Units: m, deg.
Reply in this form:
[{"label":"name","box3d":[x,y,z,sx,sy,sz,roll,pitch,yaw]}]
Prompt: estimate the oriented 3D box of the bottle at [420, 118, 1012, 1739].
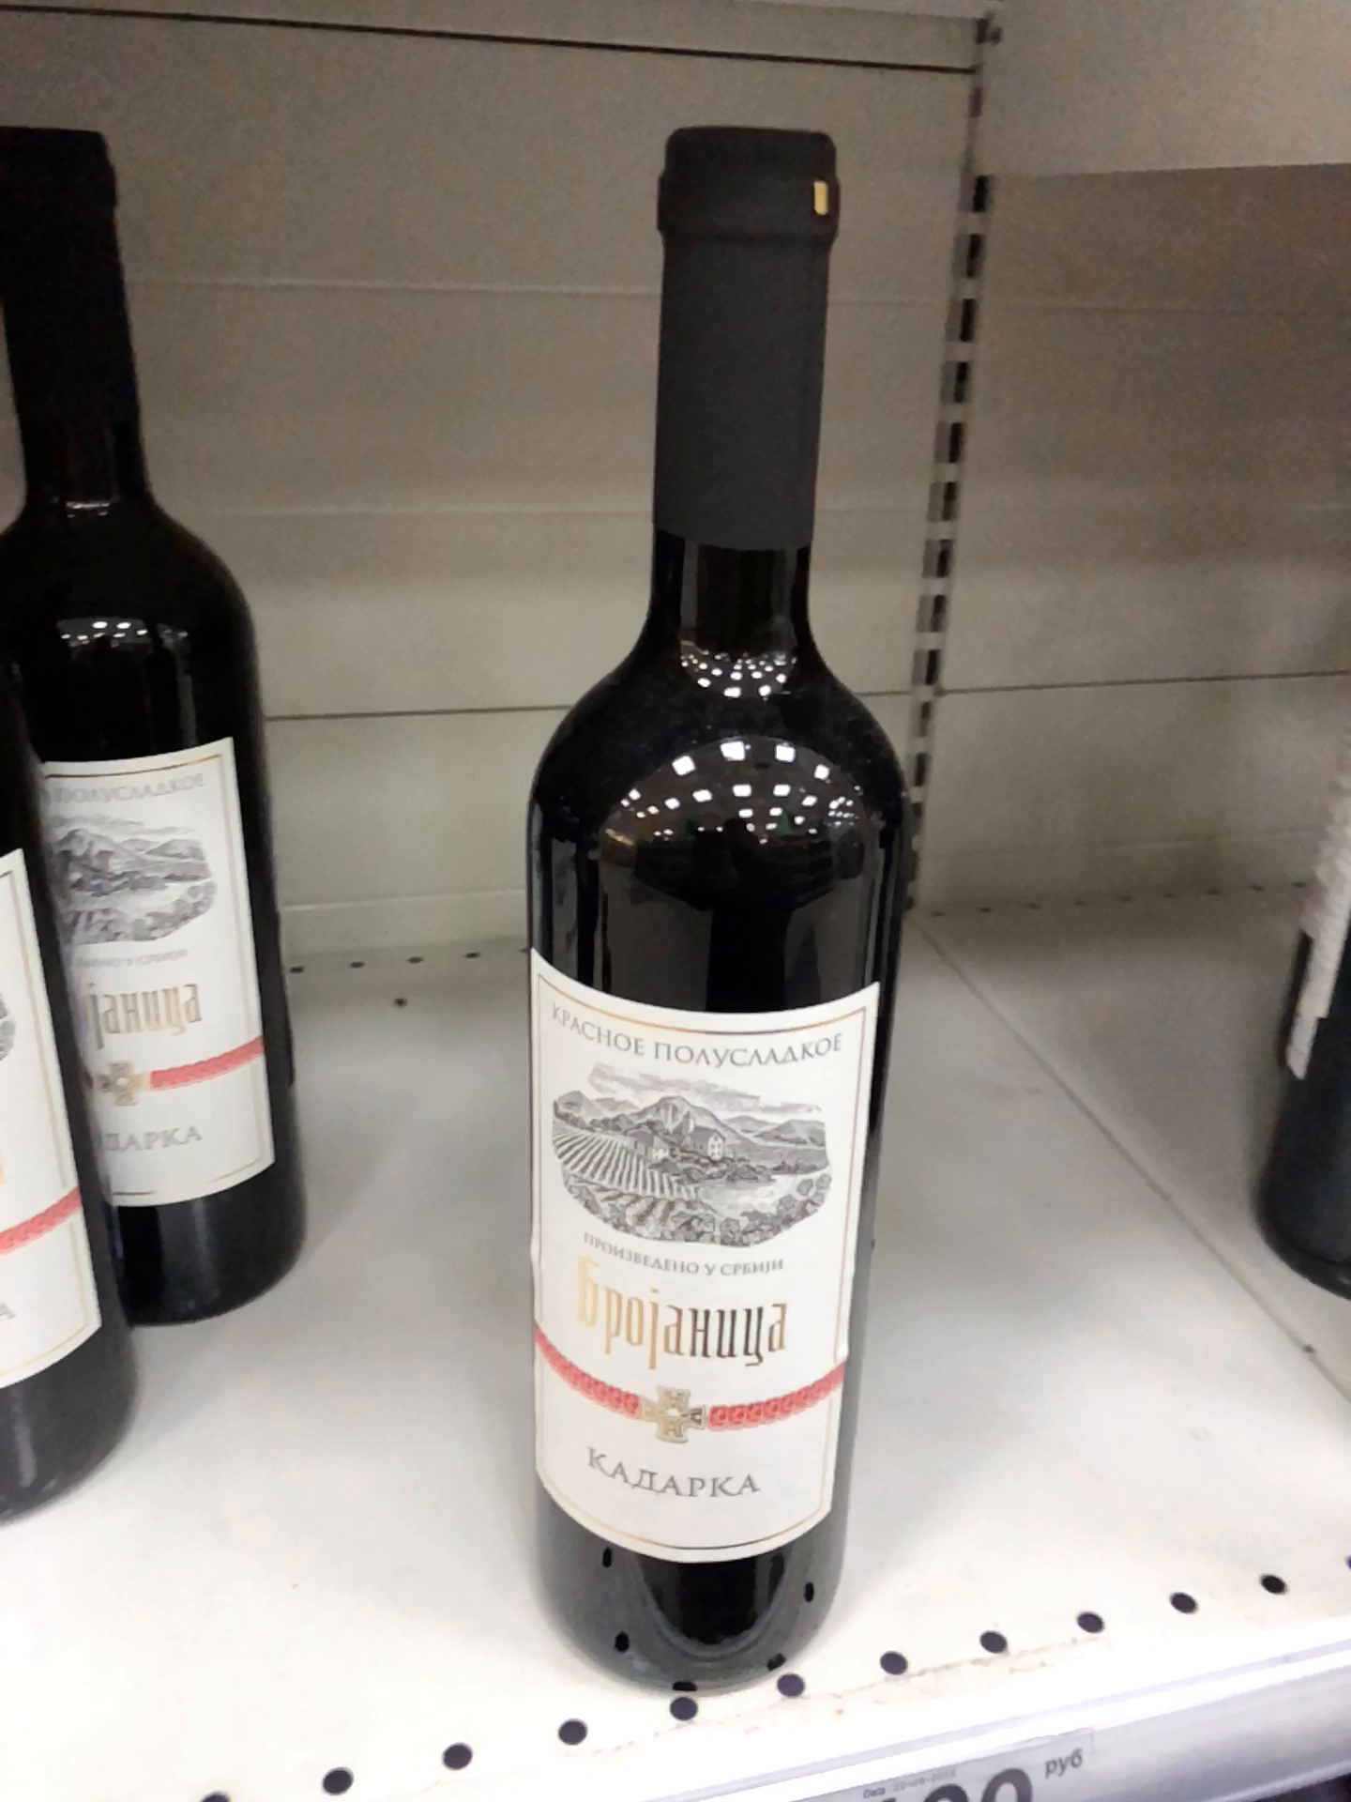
[{"label":"bottle","box3d":[0.005,0.020,0.300,0.080,0.308,0.080,2,24,-1]}]
